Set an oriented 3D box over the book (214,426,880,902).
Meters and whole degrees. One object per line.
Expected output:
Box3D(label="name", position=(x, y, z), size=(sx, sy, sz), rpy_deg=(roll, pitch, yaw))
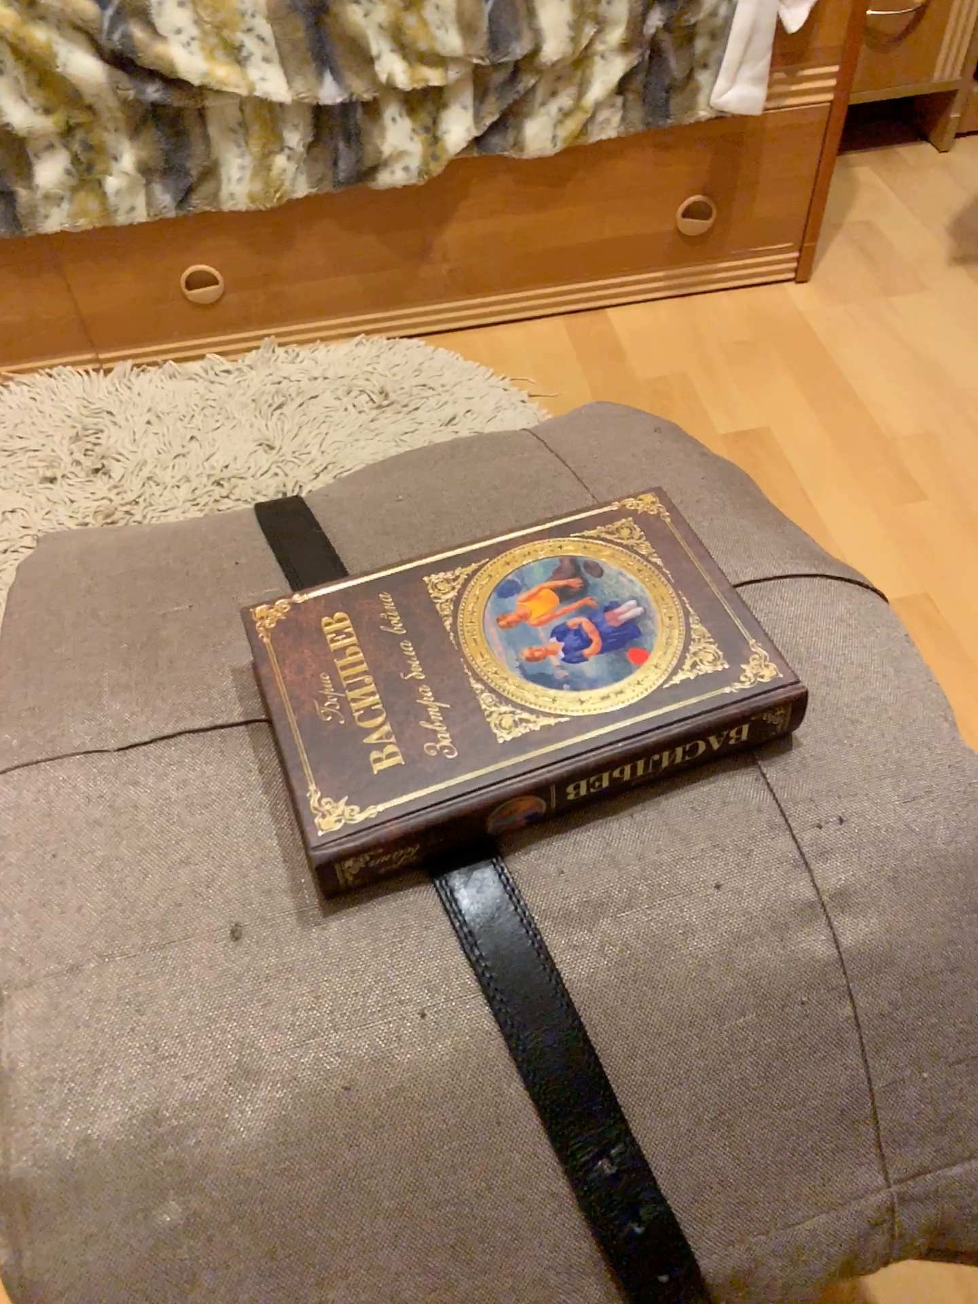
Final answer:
Box3D(label="book", position=(0.018, -0.008, 0.405), size=(0.220, 0.050, 0.141), rpy_deg=(-16, 53, -16))
